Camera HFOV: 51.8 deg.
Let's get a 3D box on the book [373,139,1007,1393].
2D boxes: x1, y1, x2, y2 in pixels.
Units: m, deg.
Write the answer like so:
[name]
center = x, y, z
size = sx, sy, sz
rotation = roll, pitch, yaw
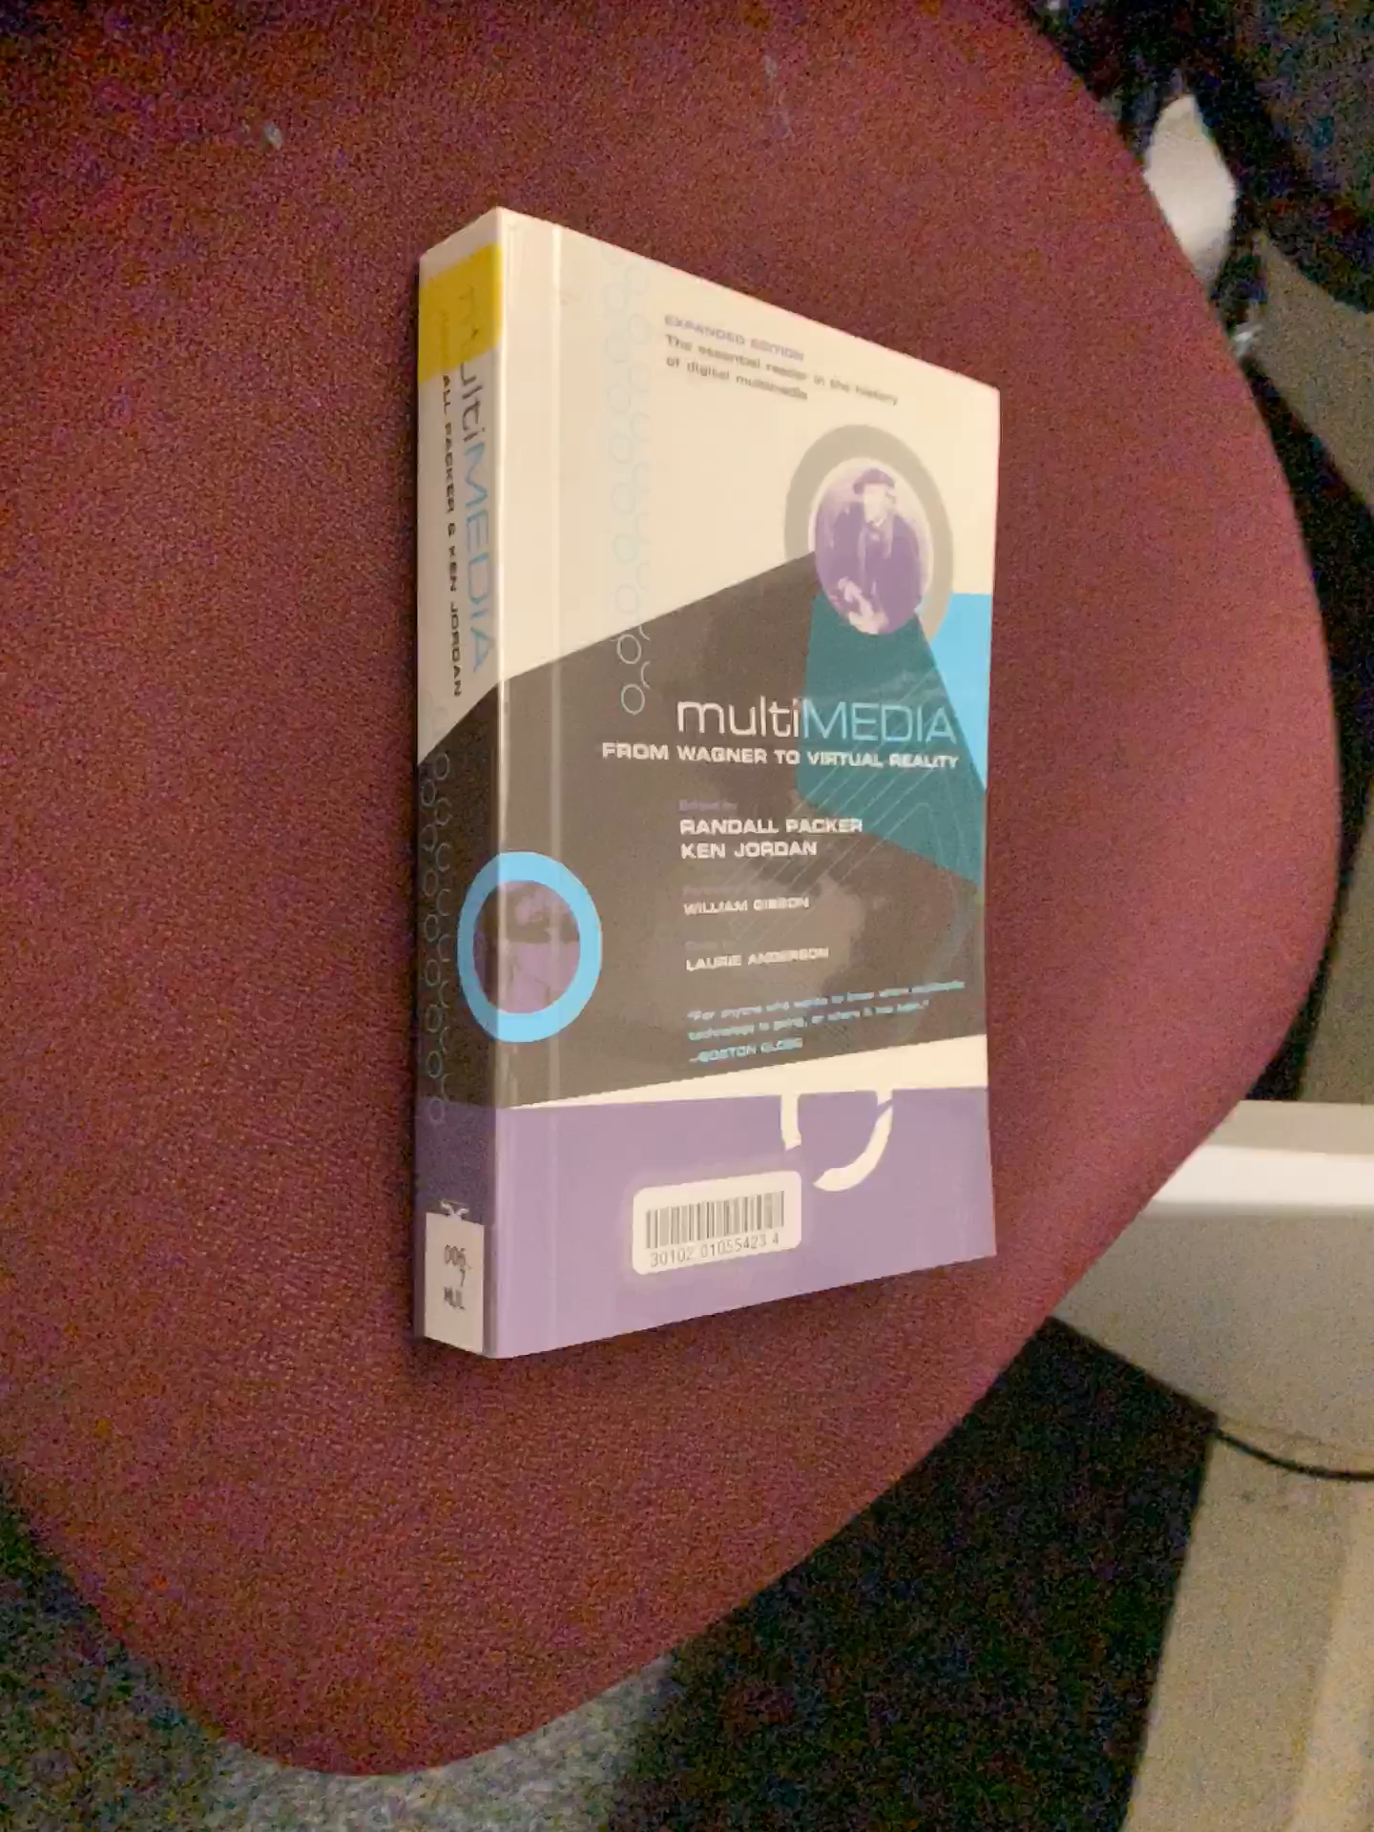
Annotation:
[book]
center = 0.008, -0.030, 0.343
size = 0.161, 0.040, 0.248
rotation = 1, 88, -38
